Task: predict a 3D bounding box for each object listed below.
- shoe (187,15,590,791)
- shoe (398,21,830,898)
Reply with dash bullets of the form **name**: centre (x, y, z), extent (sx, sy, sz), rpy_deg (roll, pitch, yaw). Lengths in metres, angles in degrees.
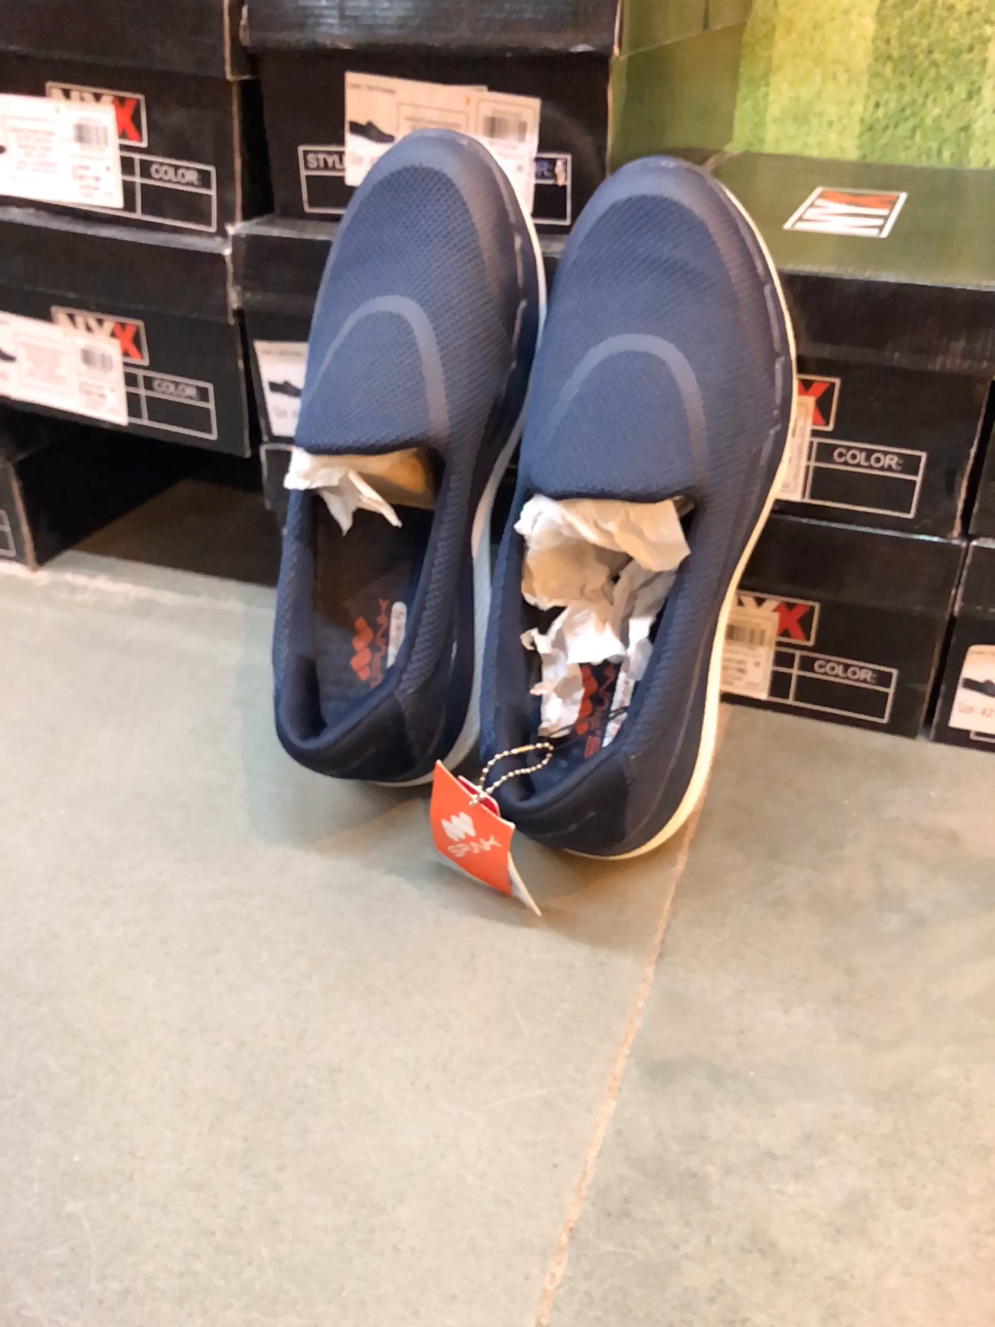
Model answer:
- **shoe**: centre (-0.043, -0.100, 0.466), extent (0.109, 0.273, 0.110), rpy_deg (8, 7, 18)
- **shoe**: centre (0.046, -0.070, 0.412), extent (0.107, 0.273, 0.099), rpy_deg (9, 6, 18)
